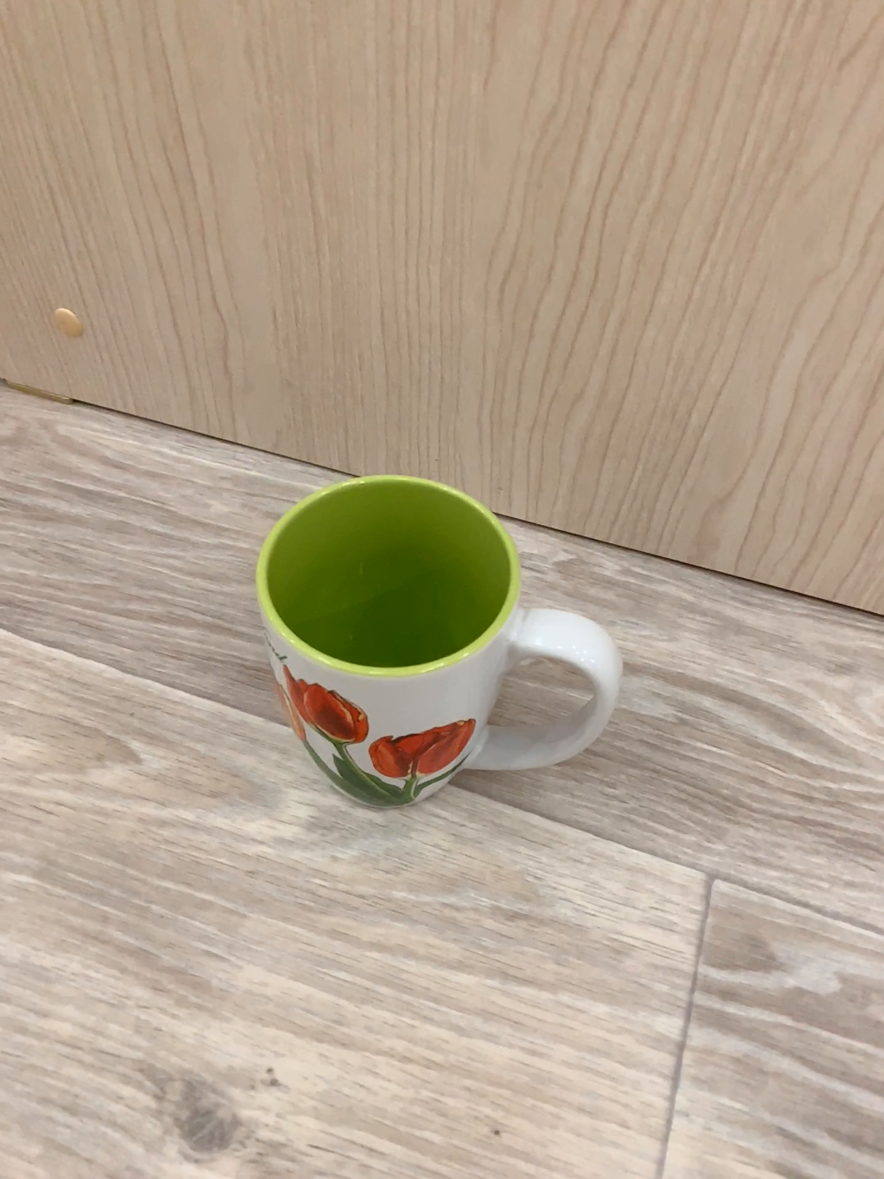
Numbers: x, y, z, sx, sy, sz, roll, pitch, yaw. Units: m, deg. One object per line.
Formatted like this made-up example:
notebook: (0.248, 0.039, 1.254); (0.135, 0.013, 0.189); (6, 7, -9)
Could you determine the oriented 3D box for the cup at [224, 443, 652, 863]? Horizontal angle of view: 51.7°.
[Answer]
cup: (0.001, 0.024, 0.322); (0.118, 0.101, 0.084); (11, 50, 6)
